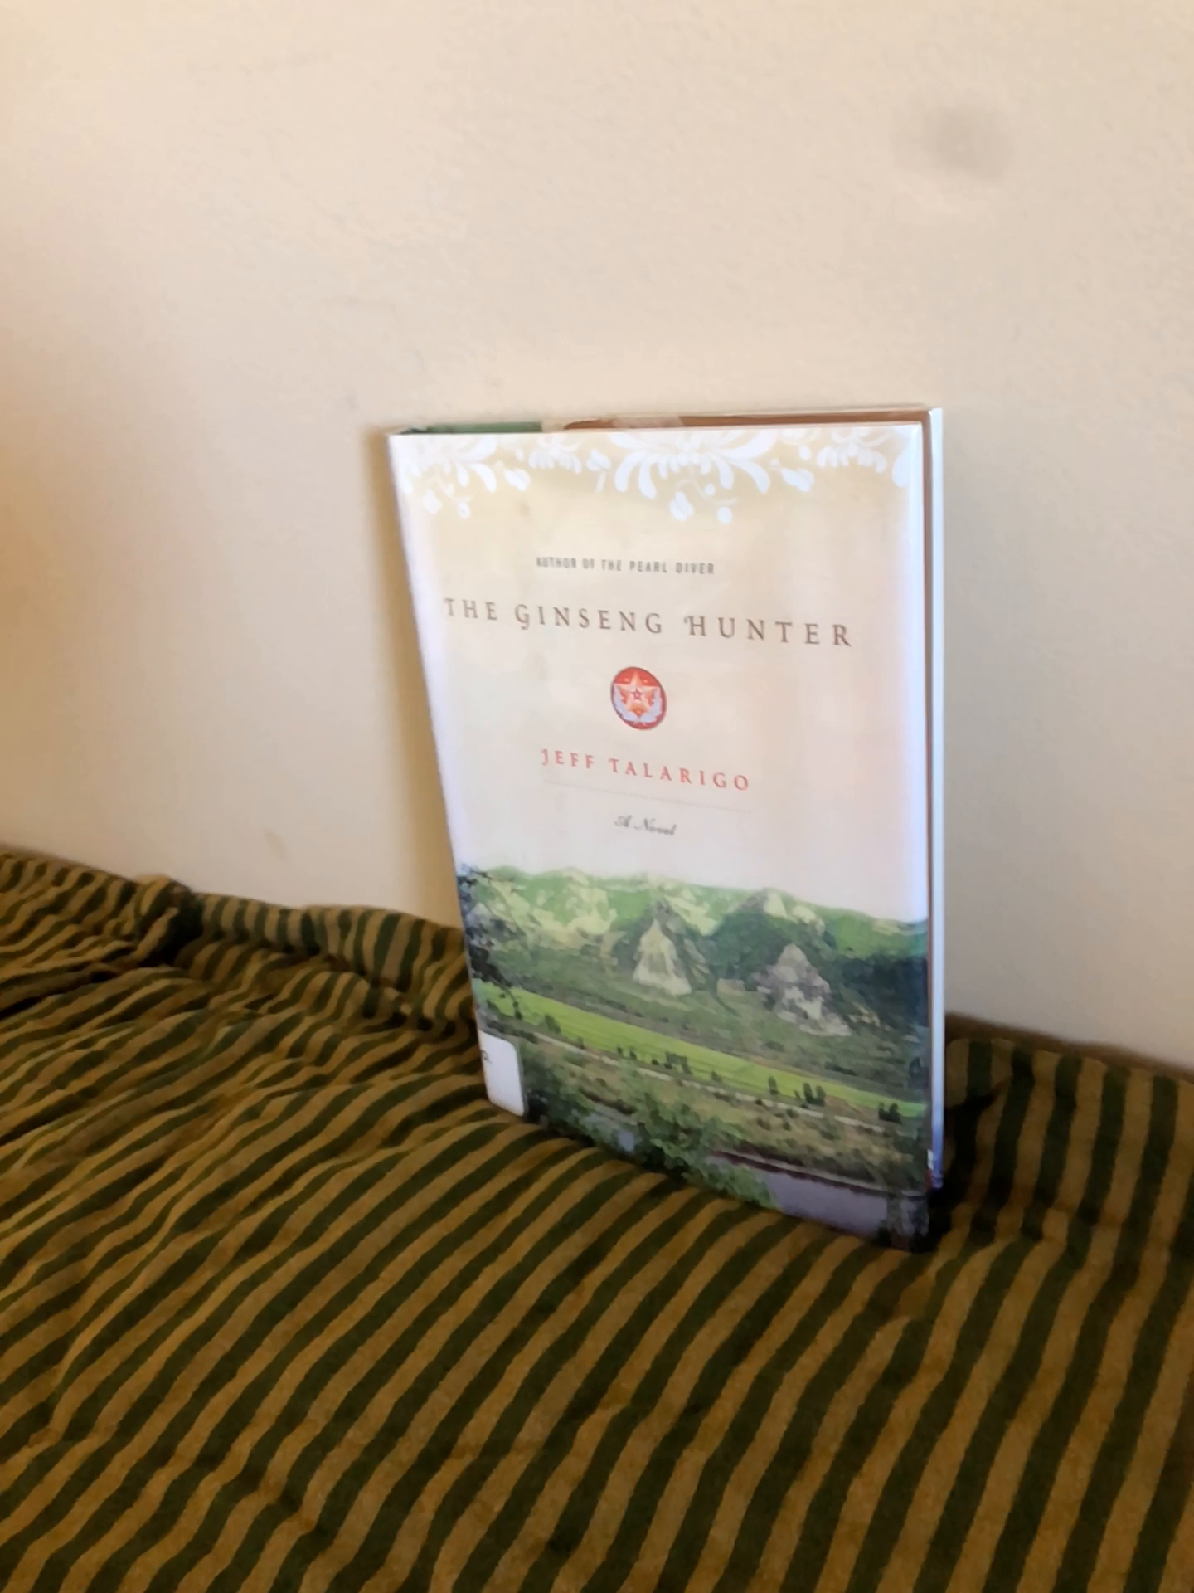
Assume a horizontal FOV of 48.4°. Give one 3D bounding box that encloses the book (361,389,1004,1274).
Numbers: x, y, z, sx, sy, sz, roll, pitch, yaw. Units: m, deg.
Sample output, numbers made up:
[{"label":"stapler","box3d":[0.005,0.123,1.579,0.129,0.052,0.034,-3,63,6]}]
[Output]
[{"label":"book","box3d":[0.022,0.009,0.323,0.137,0.203,0.029,10,30,30]}]
